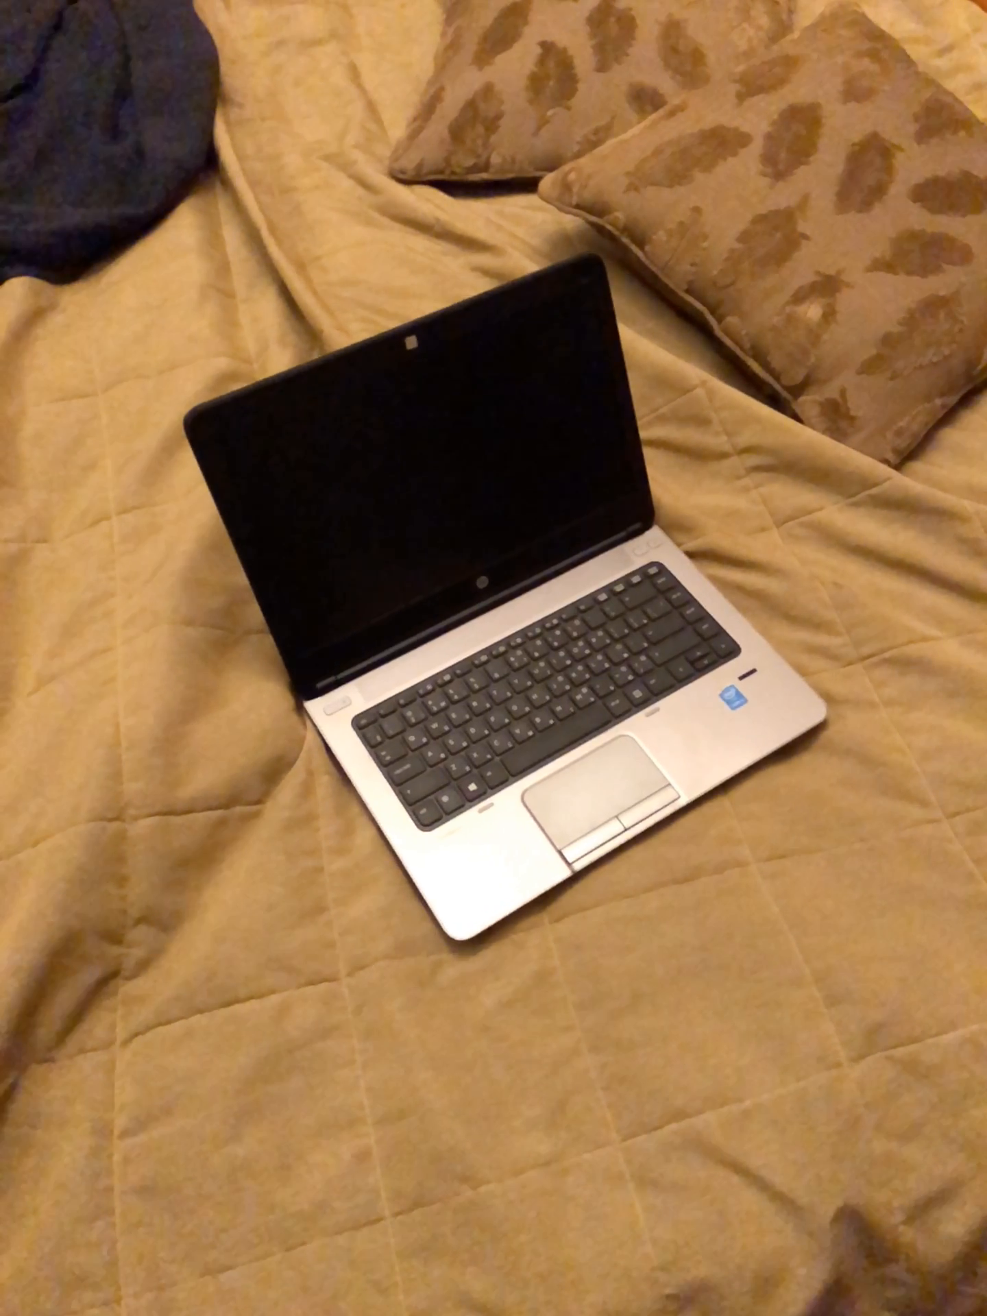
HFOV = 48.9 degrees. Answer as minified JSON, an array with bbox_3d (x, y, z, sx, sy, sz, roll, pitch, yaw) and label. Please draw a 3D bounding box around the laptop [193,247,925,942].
[{"bbox_3d":[0.029,-0.060,0.766,0.333,0.189,0.339,-28,62,-18],"label":"laptop"}]
